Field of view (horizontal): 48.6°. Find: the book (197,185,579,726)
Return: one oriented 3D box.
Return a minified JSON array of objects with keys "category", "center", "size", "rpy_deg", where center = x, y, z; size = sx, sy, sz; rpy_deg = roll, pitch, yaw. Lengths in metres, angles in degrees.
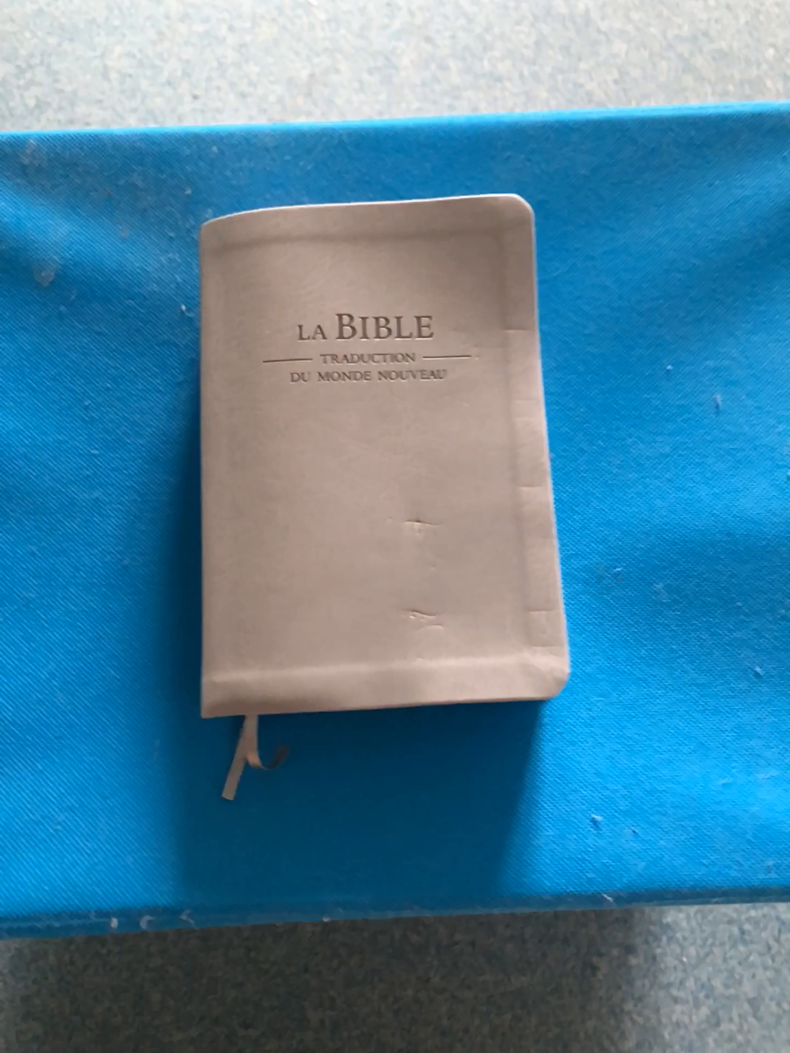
[{"category":"book","center":[-0.005,-0.024,0.318],"size":[0.121,0.051,0.180],"rpy_deg":[-3,81,2]}]
